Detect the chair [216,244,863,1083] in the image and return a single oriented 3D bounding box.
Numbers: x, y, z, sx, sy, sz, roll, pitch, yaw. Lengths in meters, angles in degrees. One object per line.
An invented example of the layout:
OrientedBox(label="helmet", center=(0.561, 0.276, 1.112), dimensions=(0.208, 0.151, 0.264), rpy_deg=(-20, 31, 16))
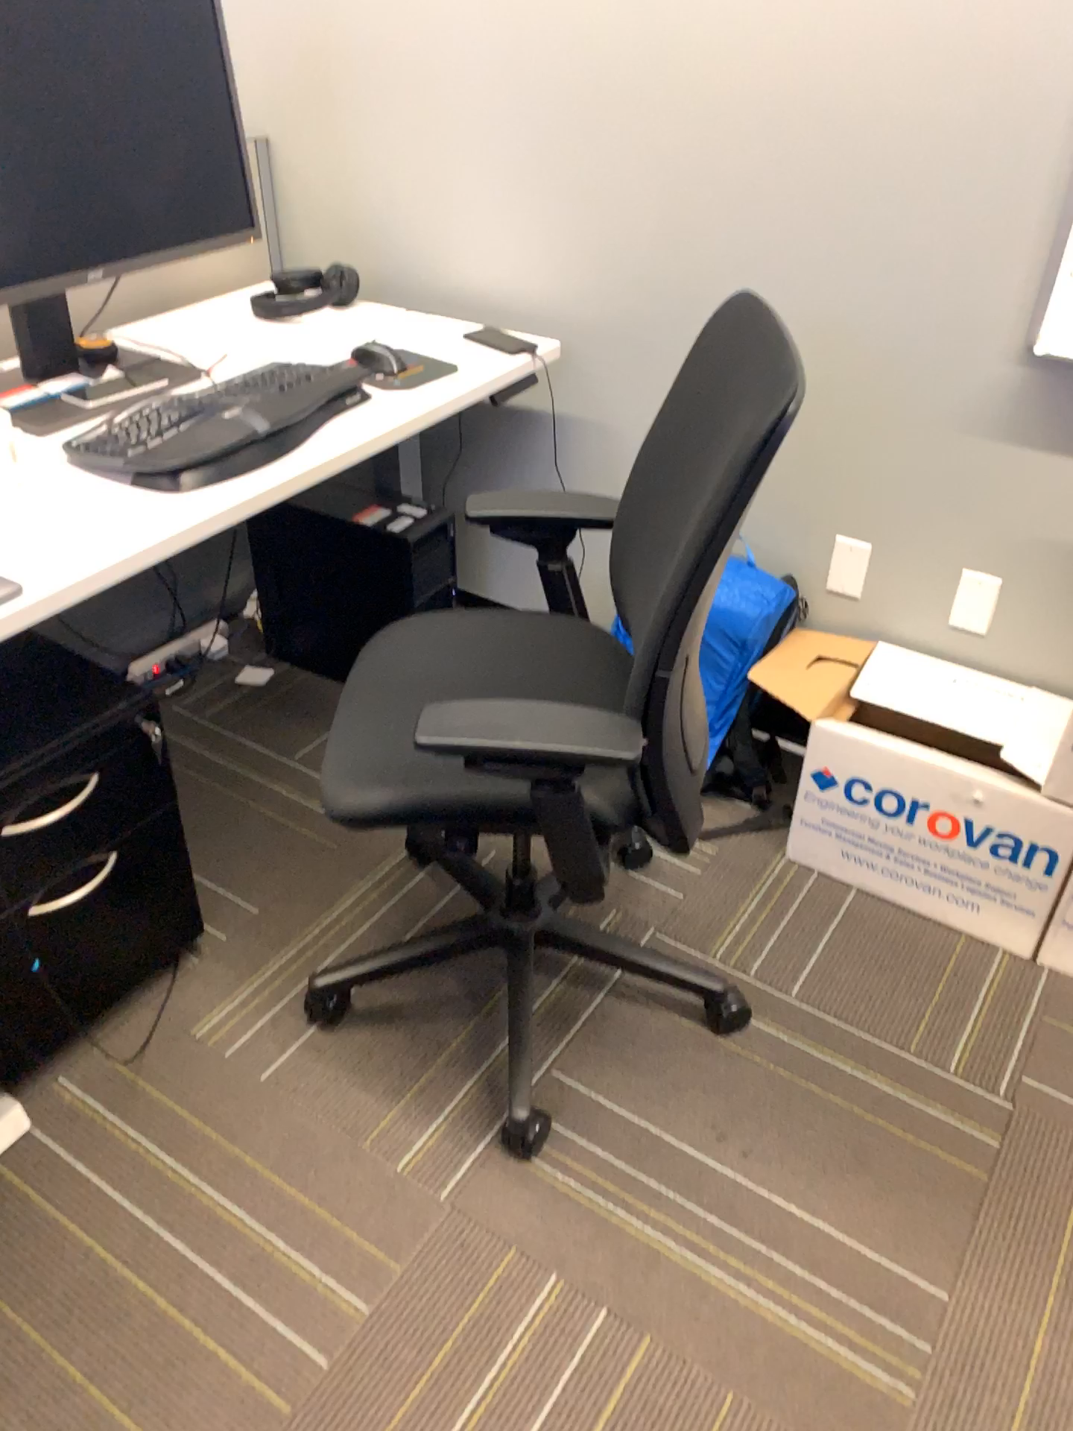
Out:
OrientedBox(label="chair", center=(-0.025, -0.105, 1.636), dimensions=(0.610, 0.945, 0.835), rpy_deg=(0, 35, -3))
